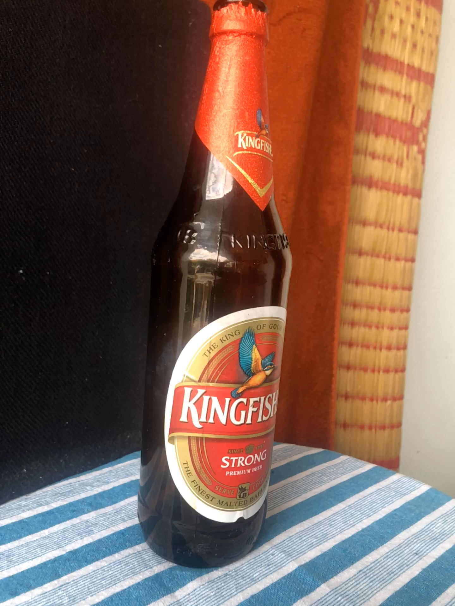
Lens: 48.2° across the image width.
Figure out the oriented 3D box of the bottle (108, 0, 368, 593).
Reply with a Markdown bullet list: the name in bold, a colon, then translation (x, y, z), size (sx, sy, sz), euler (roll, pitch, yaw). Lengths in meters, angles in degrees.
- **bottle**: translation (-0.001, -0.011, 0.271), size (0.080, 0.289, 0.070), euler (-1, 13, -39)
